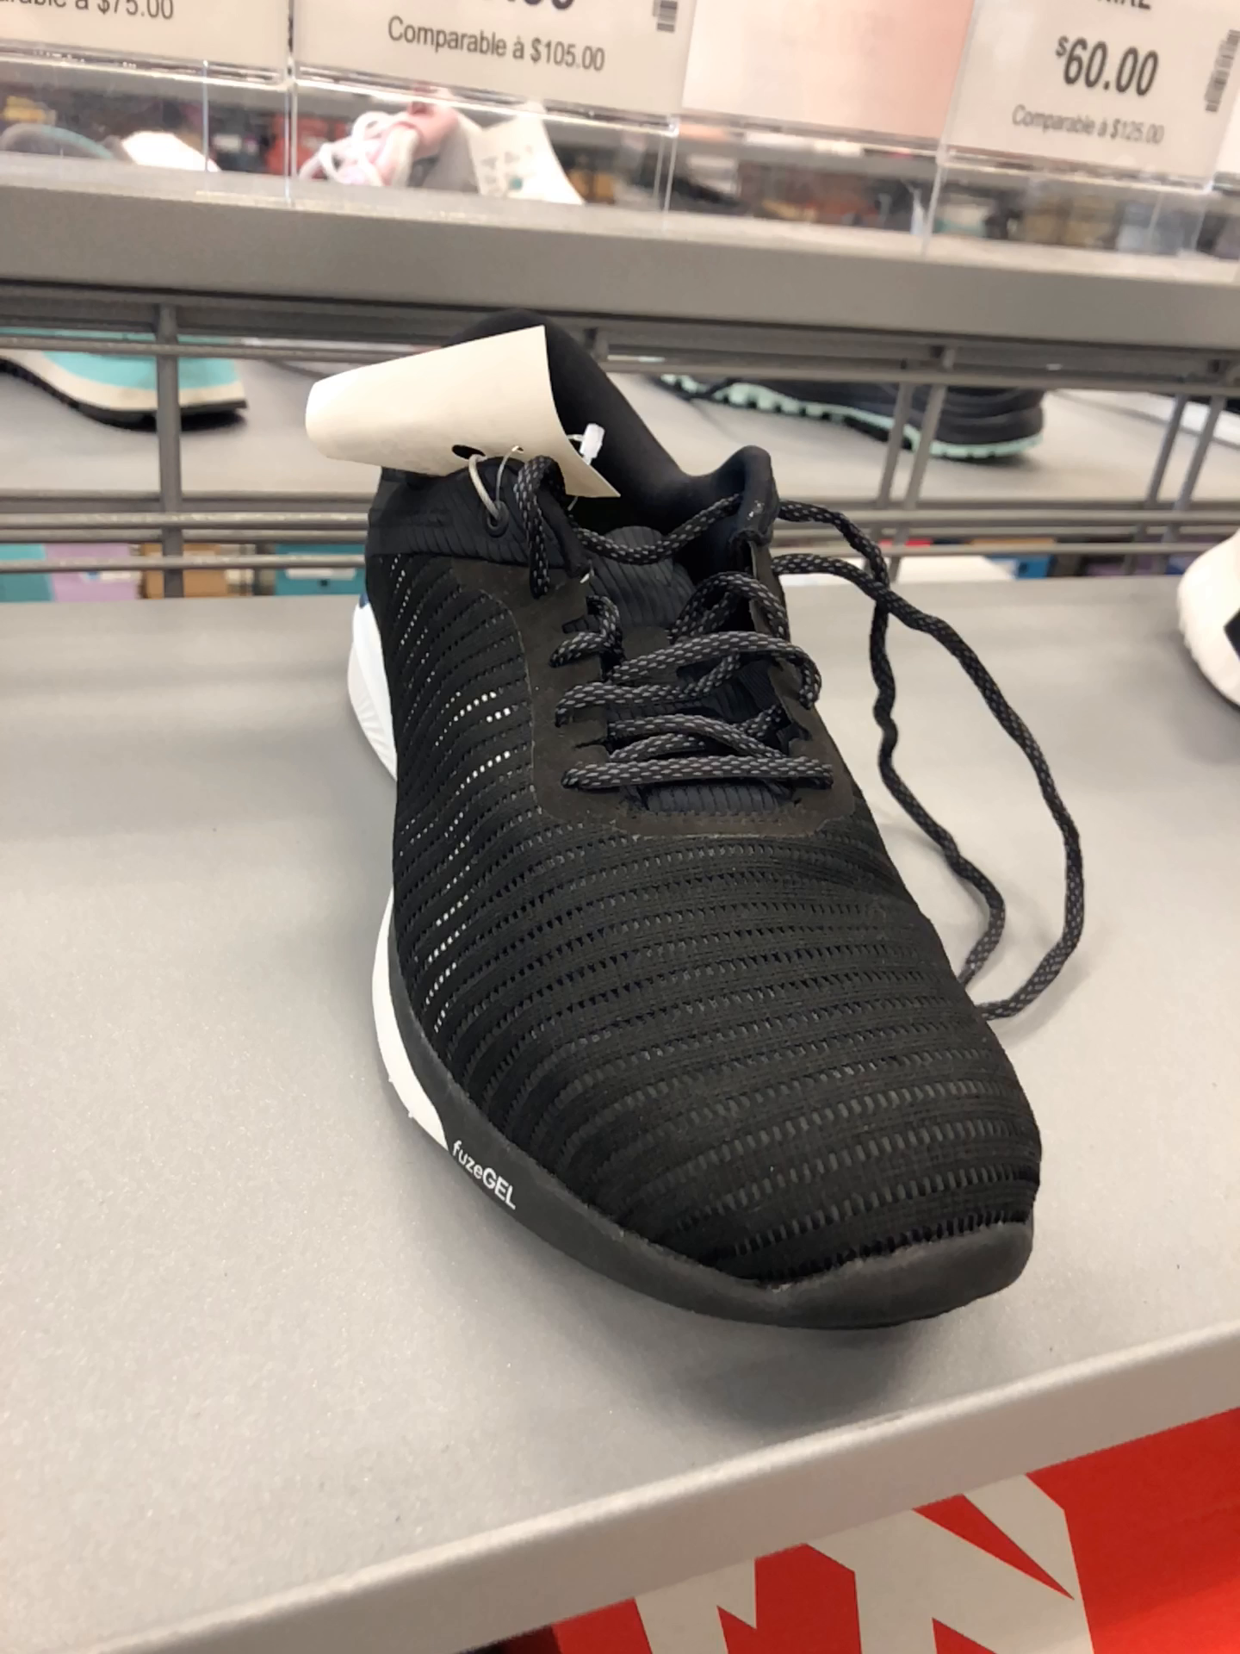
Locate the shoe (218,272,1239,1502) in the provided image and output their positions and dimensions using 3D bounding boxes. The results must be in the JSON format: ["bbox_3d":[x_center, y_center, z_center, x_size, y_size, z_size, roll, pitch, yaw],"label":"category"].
[{"bbox_3d":[-0.010,-0.032,0.319,0.120,0.119,0.302,-5,33,-22],"label":"shoe"}]
